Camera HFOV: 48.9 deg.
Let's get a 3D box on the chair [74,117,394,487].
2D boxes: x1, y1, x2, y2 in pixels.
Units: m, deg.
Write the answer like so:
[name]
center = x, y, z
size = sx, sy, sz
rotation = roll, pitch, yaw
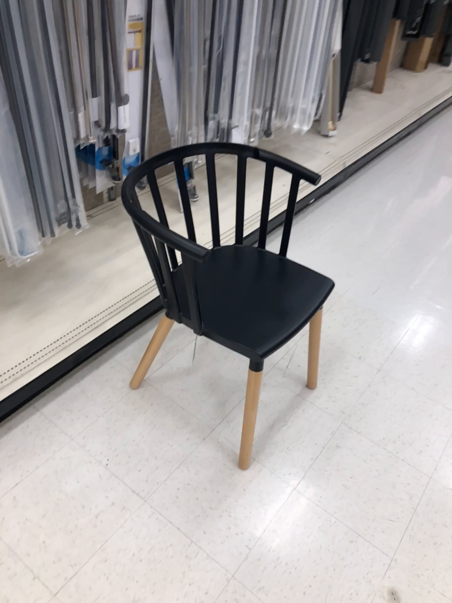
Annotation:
[chair]
center = 0.004, -0.019, 1.429
size = 0.568, 0.730, 0.536
rotation = 30, 45, 25
